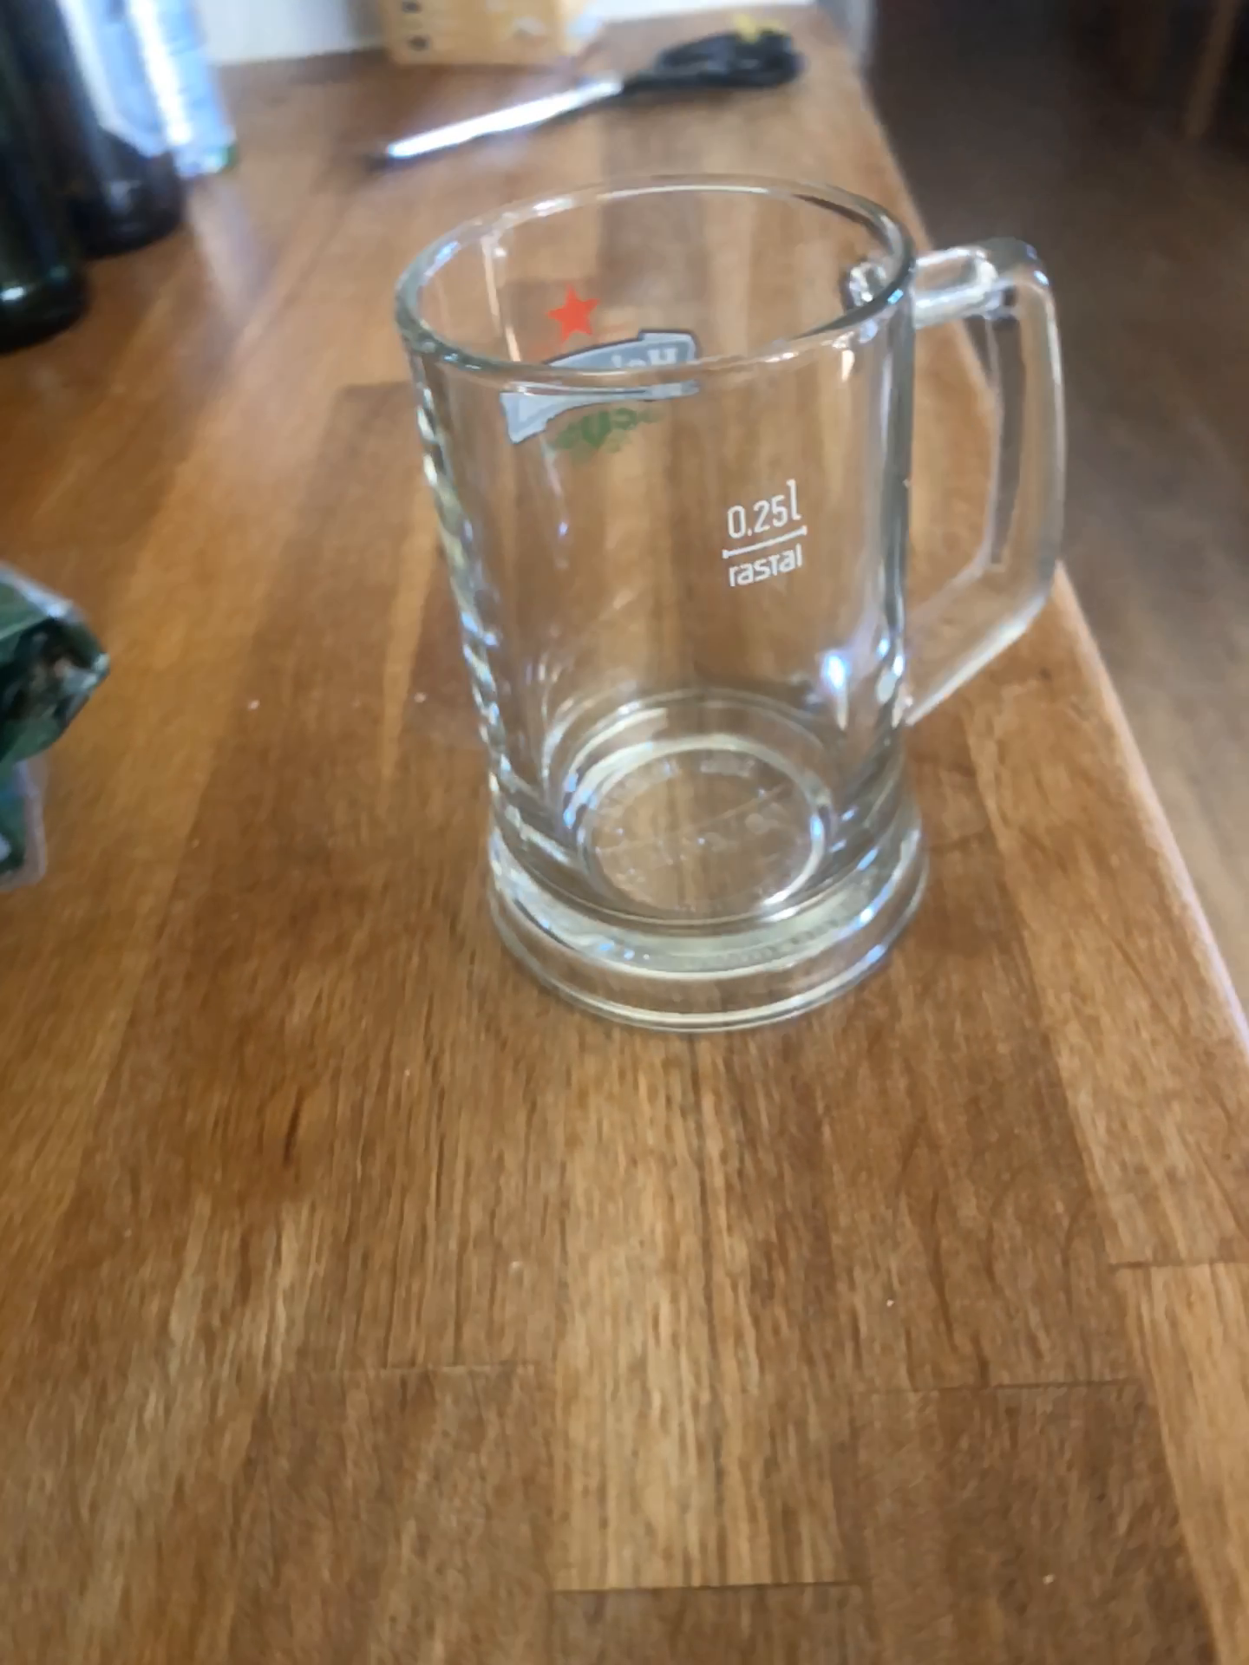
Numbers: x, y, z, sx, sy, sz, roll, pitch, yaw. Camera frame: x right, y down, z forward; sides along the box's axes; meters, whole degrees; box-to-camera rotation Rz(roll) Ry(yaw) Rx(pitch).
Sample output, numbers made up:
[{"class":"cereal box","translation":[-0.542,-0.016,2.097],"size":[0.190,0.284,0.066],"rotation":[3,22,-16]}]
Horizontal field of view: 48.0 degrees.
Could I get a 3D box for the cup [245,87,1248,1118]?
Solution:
[{"class":"cup","translation":[0.018,-0.040,0.233],"size":[0.115,0.109,0.092],"rotation":[-20,45,-12]}]
